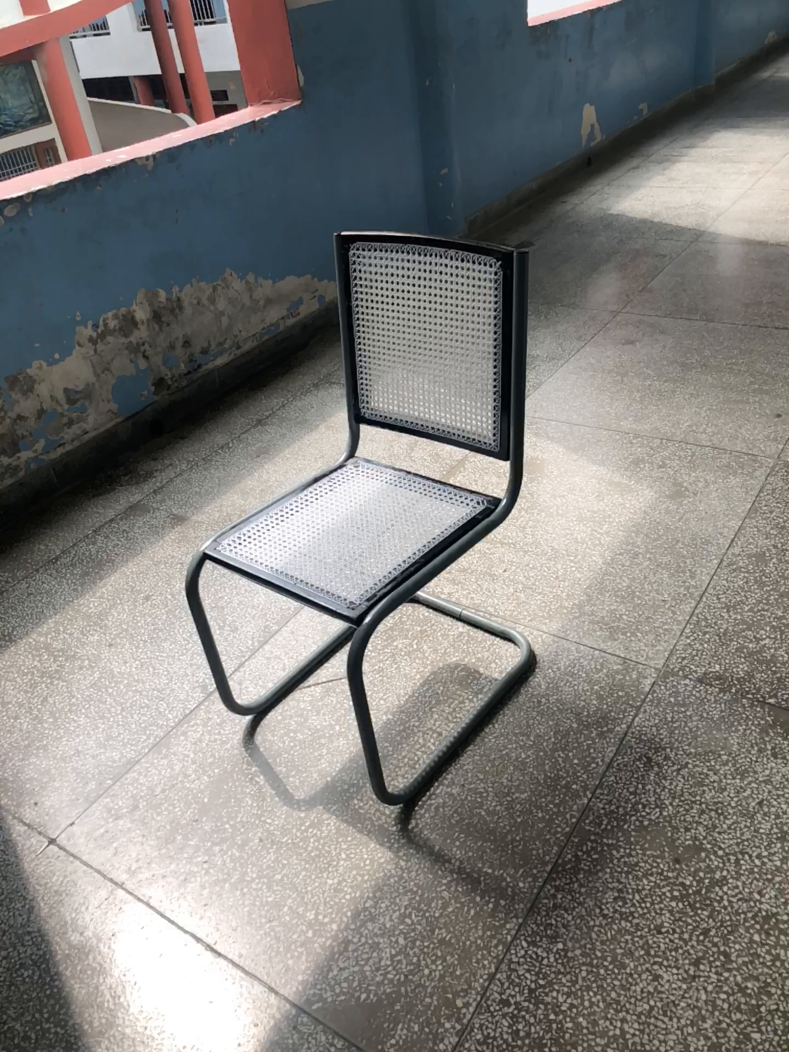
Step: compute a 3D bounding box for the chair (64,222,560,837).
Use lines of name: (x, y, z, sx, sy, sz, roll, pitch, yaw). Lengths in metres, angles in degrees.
chair: (-0.073, -0.026, 1.541, 0.491, 0.816, 0.571, 19, 42, 35)
